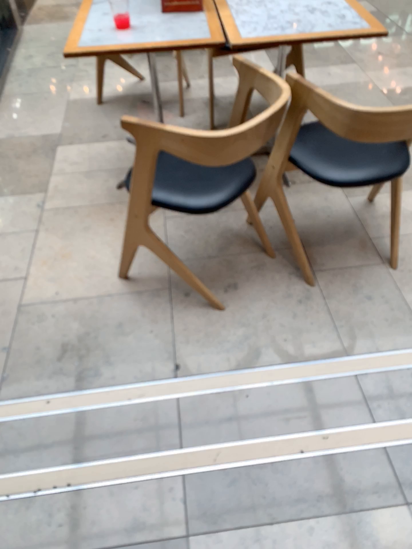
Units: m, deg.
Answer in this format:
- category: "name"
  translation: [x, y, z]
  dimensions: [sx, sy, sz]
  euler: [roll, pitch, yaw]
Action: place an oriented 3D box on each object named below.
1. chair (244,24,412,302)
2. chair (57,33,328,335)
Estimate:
- category: "chair"
  translation: [0.531, -0.393, 1.518]
  dimensions: [0.633, 0.718, 0.534]
  euler: [-12, 48, -8]
- category: "chair"
  translation: [-0.009, -0.327, 1.479]
  dimensions: [0.501, 0.708, 0.646]
  euler: [30, 56, 26]
